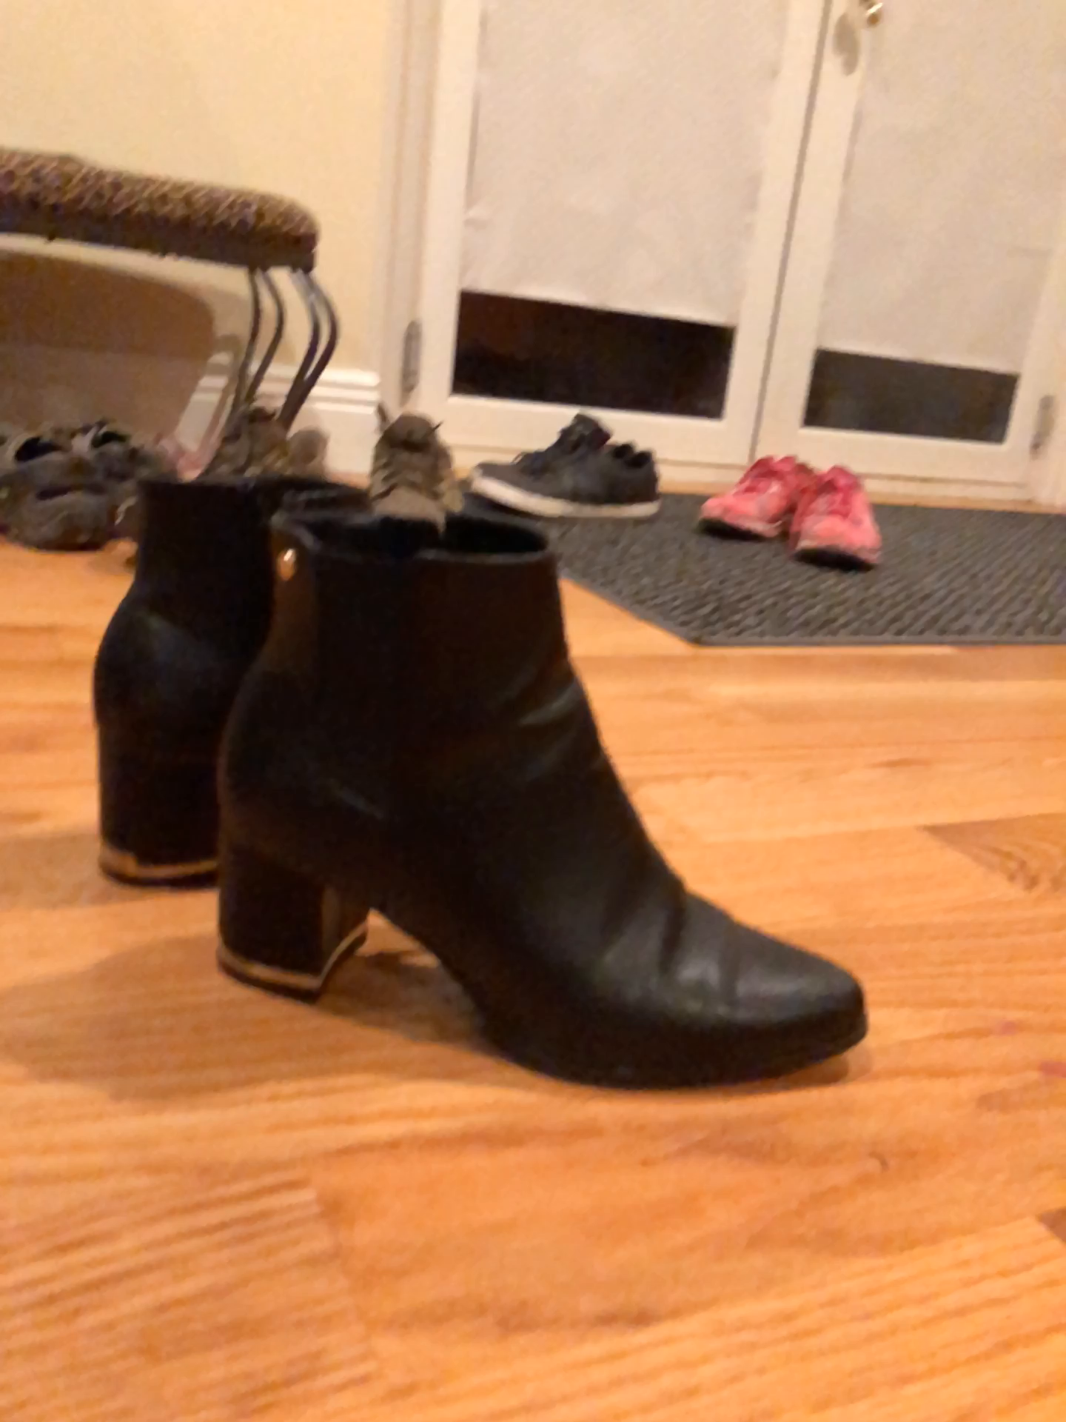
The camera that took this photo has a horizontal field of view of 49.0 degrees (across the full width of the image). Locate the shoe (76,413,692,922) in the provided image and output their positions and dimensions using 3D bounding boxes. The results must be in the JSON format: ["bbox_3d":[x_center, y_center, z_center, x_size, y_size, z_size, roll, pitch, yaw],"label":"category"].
[{"bbox_3d":[-0.066,-0.027,0.510,0.236,0.175,0.095,-4,19,-31],"label":"shoe"}]

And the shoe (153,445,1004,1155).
[{"bbox_3d":[0.007,0.018,0.392,0.236,0.175,0.095,10,17,10],"label":"shoe"}]
